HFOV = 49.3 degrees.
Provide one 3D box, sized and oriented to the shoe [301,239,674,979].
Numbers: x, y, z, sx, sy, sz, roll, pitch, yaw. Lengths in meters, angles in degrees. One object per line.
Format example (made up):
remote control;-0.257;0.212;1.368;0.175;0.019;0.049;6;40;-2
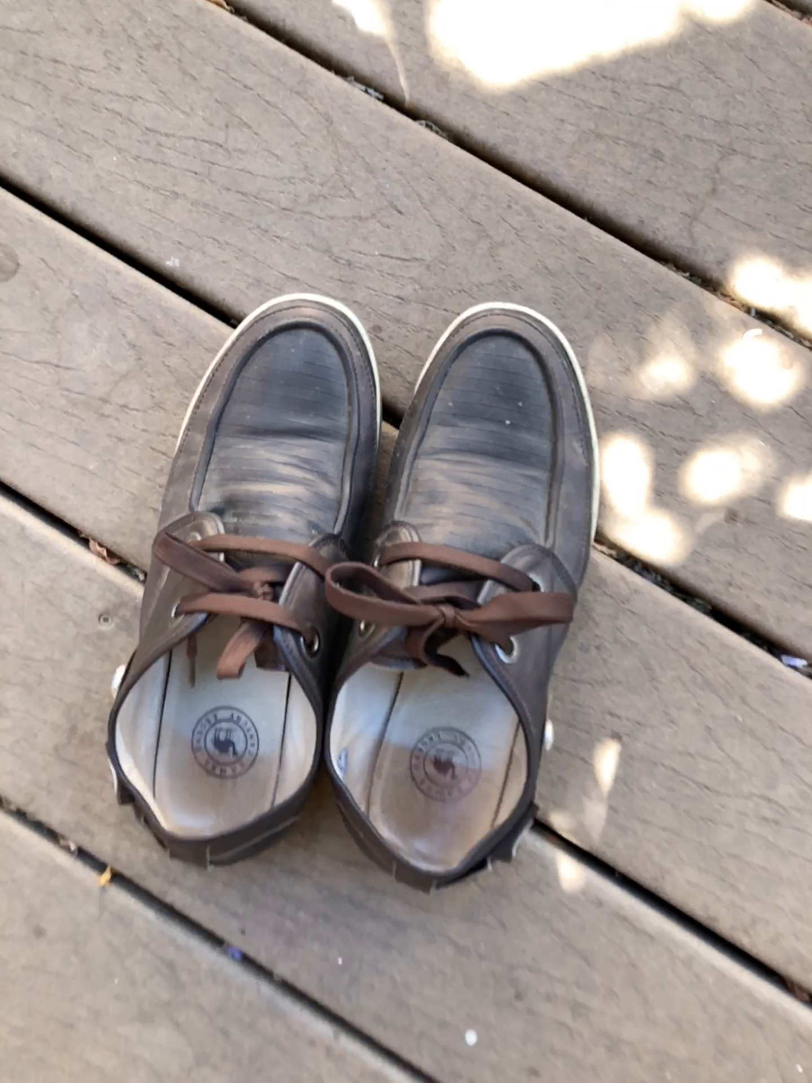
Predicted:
shoe;0.035;0.027;0.415;0.107;0.105;0.289;9;90;3

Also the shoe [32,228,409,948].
shoe;-0.078;0.019;0.429;0.107;0.115;0.287;10;90;3
